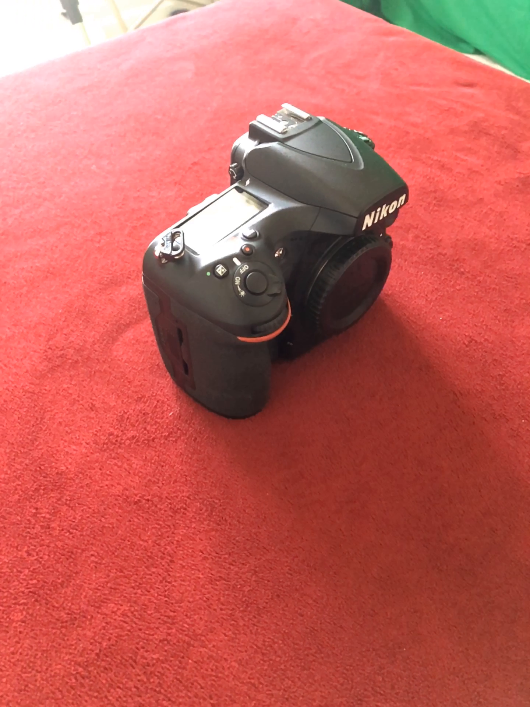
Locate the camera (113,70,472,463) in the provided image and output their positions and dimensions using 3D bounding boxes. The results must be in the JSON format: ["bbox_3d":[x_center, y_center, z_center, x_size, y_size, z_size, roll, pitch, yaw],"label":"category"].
[{"bbox_3d":[0.017,-0.046,0.311,0.083,0.129,0.146,36,59,26],"label":"camera"}]
